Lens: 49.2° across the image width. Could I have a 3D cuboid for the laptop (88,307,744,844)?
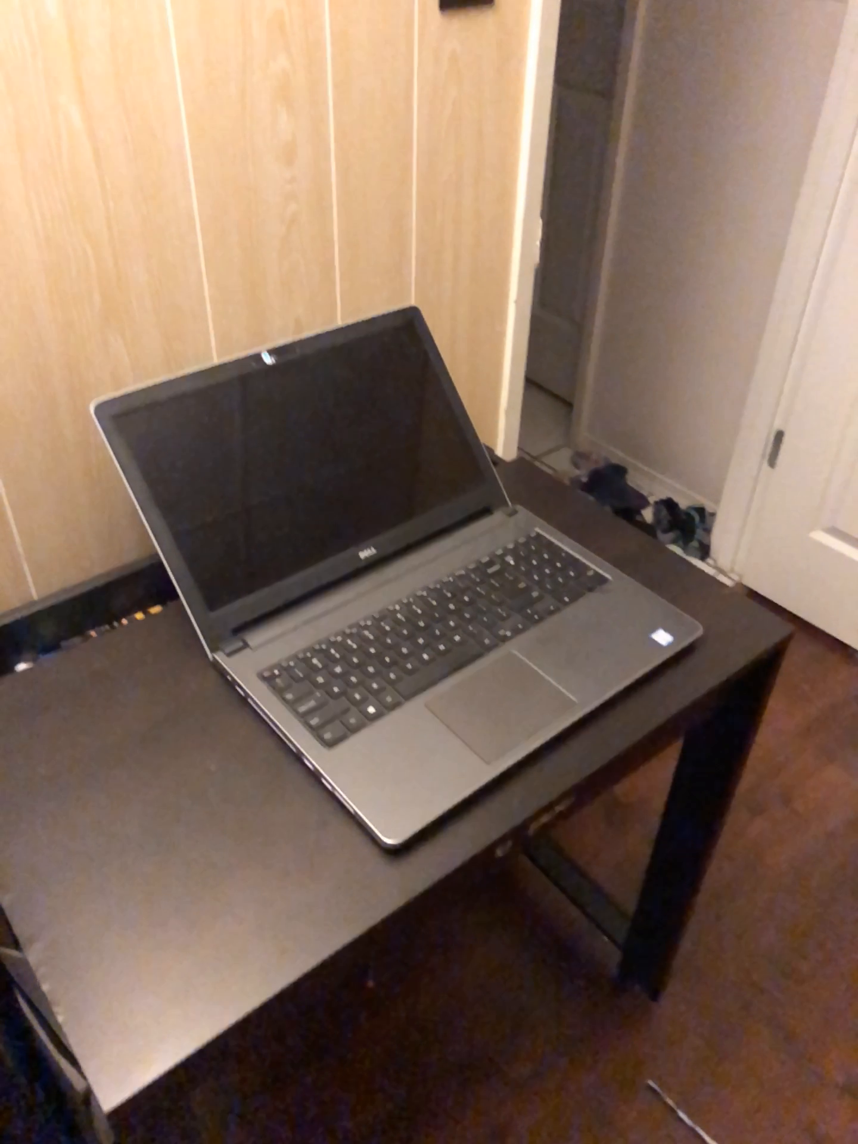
[{"bbox_3d":[-0.024,-0.045,0.845,0.368,0.172,0.428,-27,46,-31],"label":"laptop"}]
